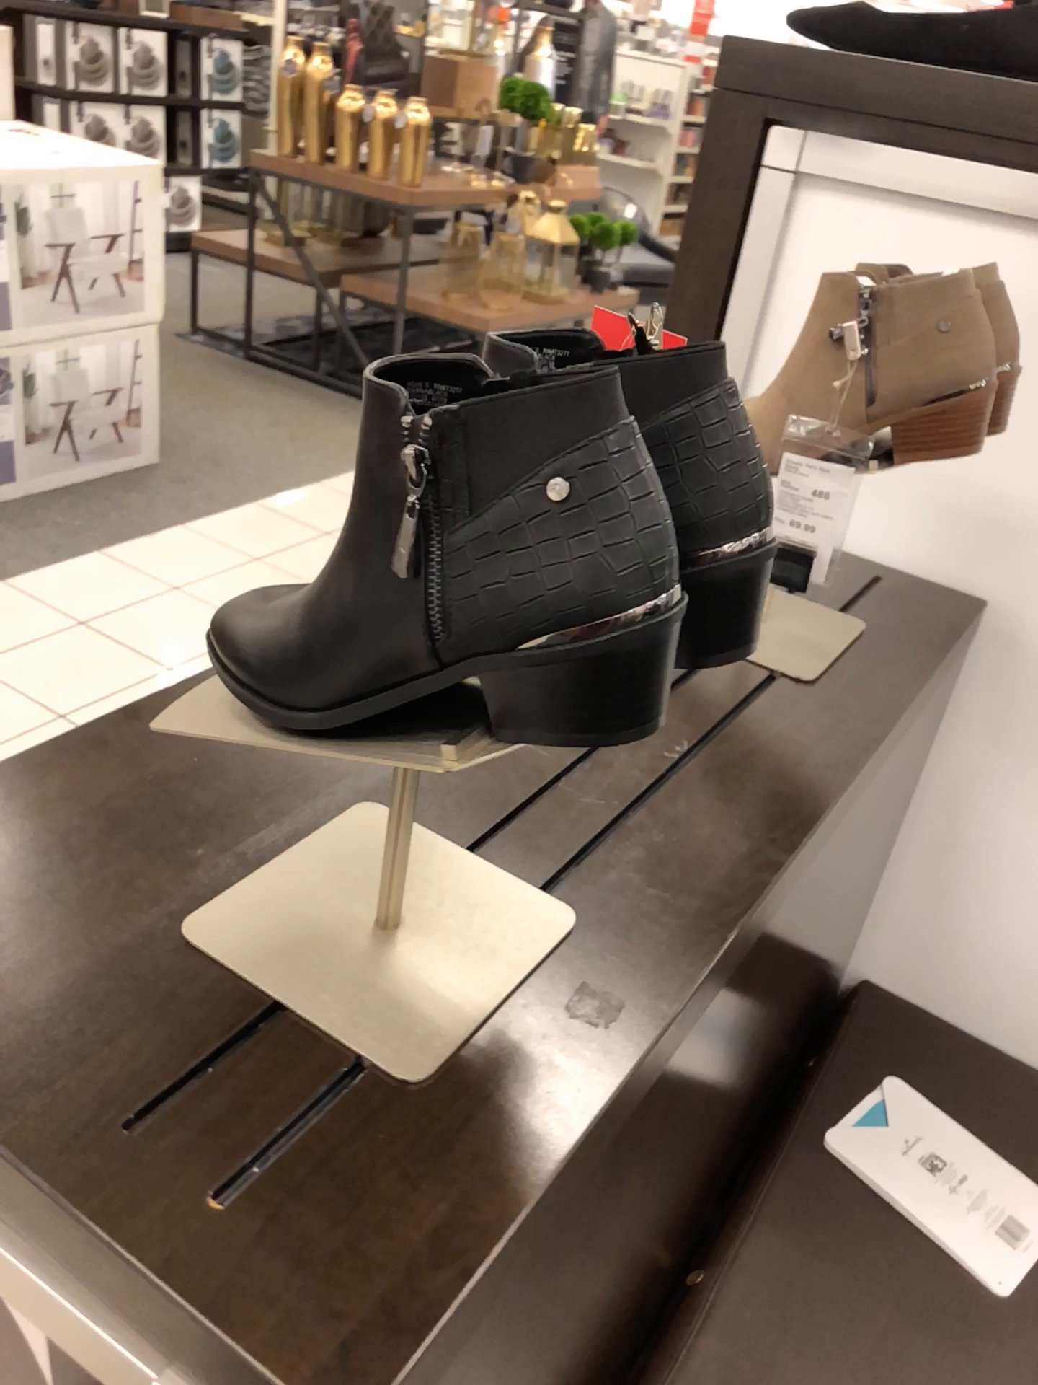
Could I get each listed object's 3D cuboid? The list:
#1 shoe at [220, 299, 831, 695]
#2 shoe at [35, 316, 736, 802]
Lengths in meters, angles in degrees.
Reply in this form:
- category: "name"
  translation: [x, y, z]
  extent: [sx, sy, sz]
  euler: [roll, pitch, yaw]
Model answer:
- category: "shoe"
  translation: [-0.003, -0.084, 0.511]
  extent: [0.243, 0.132, 0.105]
  euler: [4, 20, 40]
- category: "shoe"
  translation: [-0.058, -0.053, 0.437]
  extent: [0.243, 0.132, 0.105]
  euler: [4, 20, 40]
